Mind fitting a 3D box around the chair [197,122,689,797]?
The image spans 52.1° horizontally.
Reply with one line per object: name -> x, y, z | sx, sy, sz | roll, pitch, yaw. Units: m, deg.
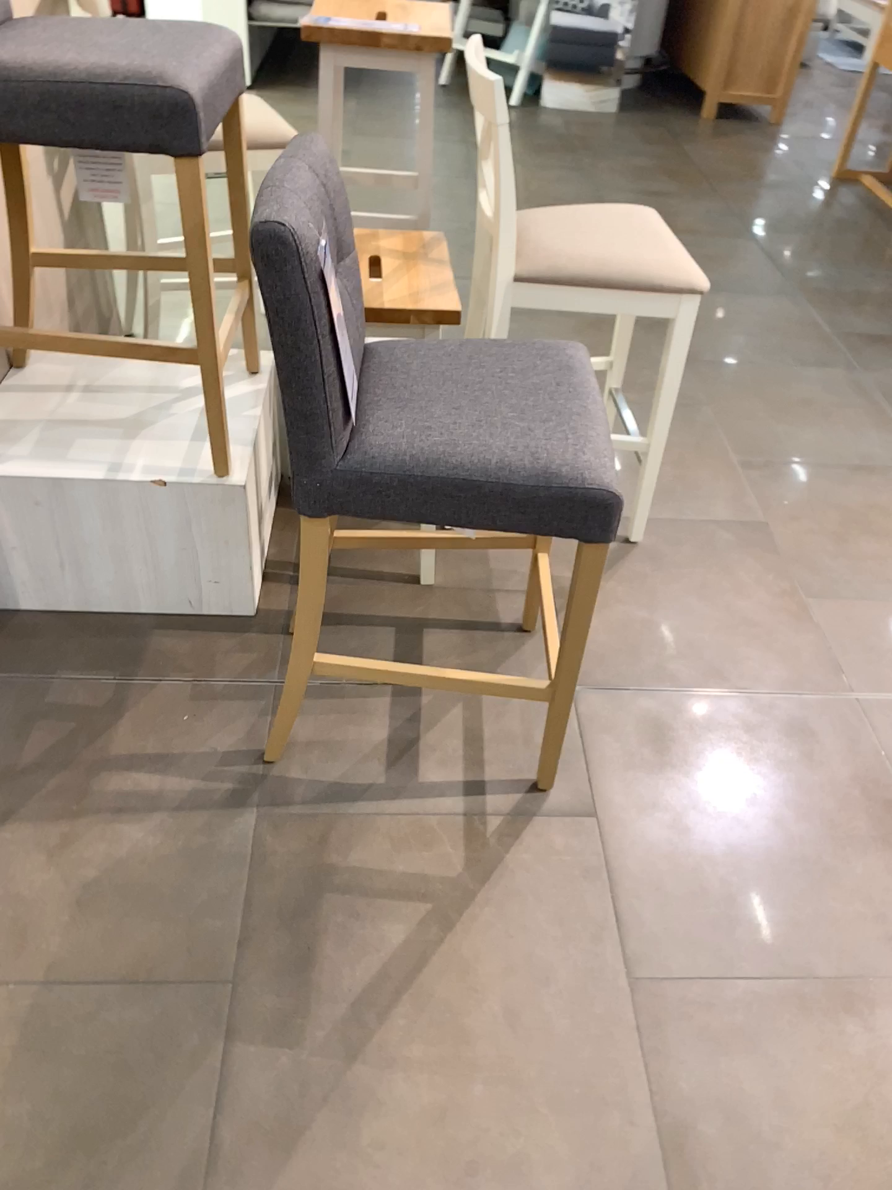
chair -> -0.035, -0.169, 1.438 | 0.518, 0.908, 0.491 | 2, 40, -4

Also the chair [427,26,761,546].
chair -> 0.239, -0.643, 2.007 | 0.498, 0.938, 0.511 | 1, 40, -4

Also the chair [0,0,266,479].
chair -> -0.631, -0.741, 1.524 | 0.538, 0.918, 0.551 | 1, 40, -4
